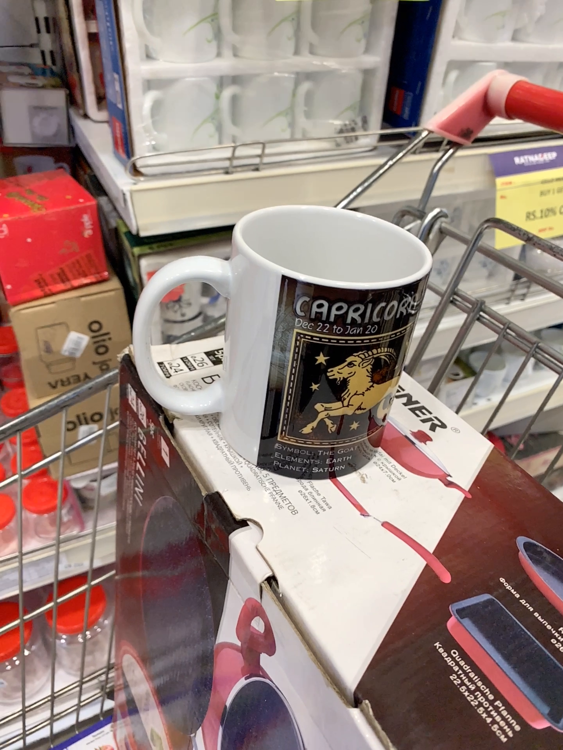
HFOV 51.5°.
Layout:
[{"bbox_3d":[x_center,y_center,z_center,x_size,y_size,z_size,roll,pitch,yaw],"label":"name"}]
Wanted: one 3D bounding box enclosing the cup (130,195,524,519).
[{"bbox_3d":[0.007,-0.013,0.233,0.120,0.090,0.080,-5,38,-18],"label":"cup"}]
